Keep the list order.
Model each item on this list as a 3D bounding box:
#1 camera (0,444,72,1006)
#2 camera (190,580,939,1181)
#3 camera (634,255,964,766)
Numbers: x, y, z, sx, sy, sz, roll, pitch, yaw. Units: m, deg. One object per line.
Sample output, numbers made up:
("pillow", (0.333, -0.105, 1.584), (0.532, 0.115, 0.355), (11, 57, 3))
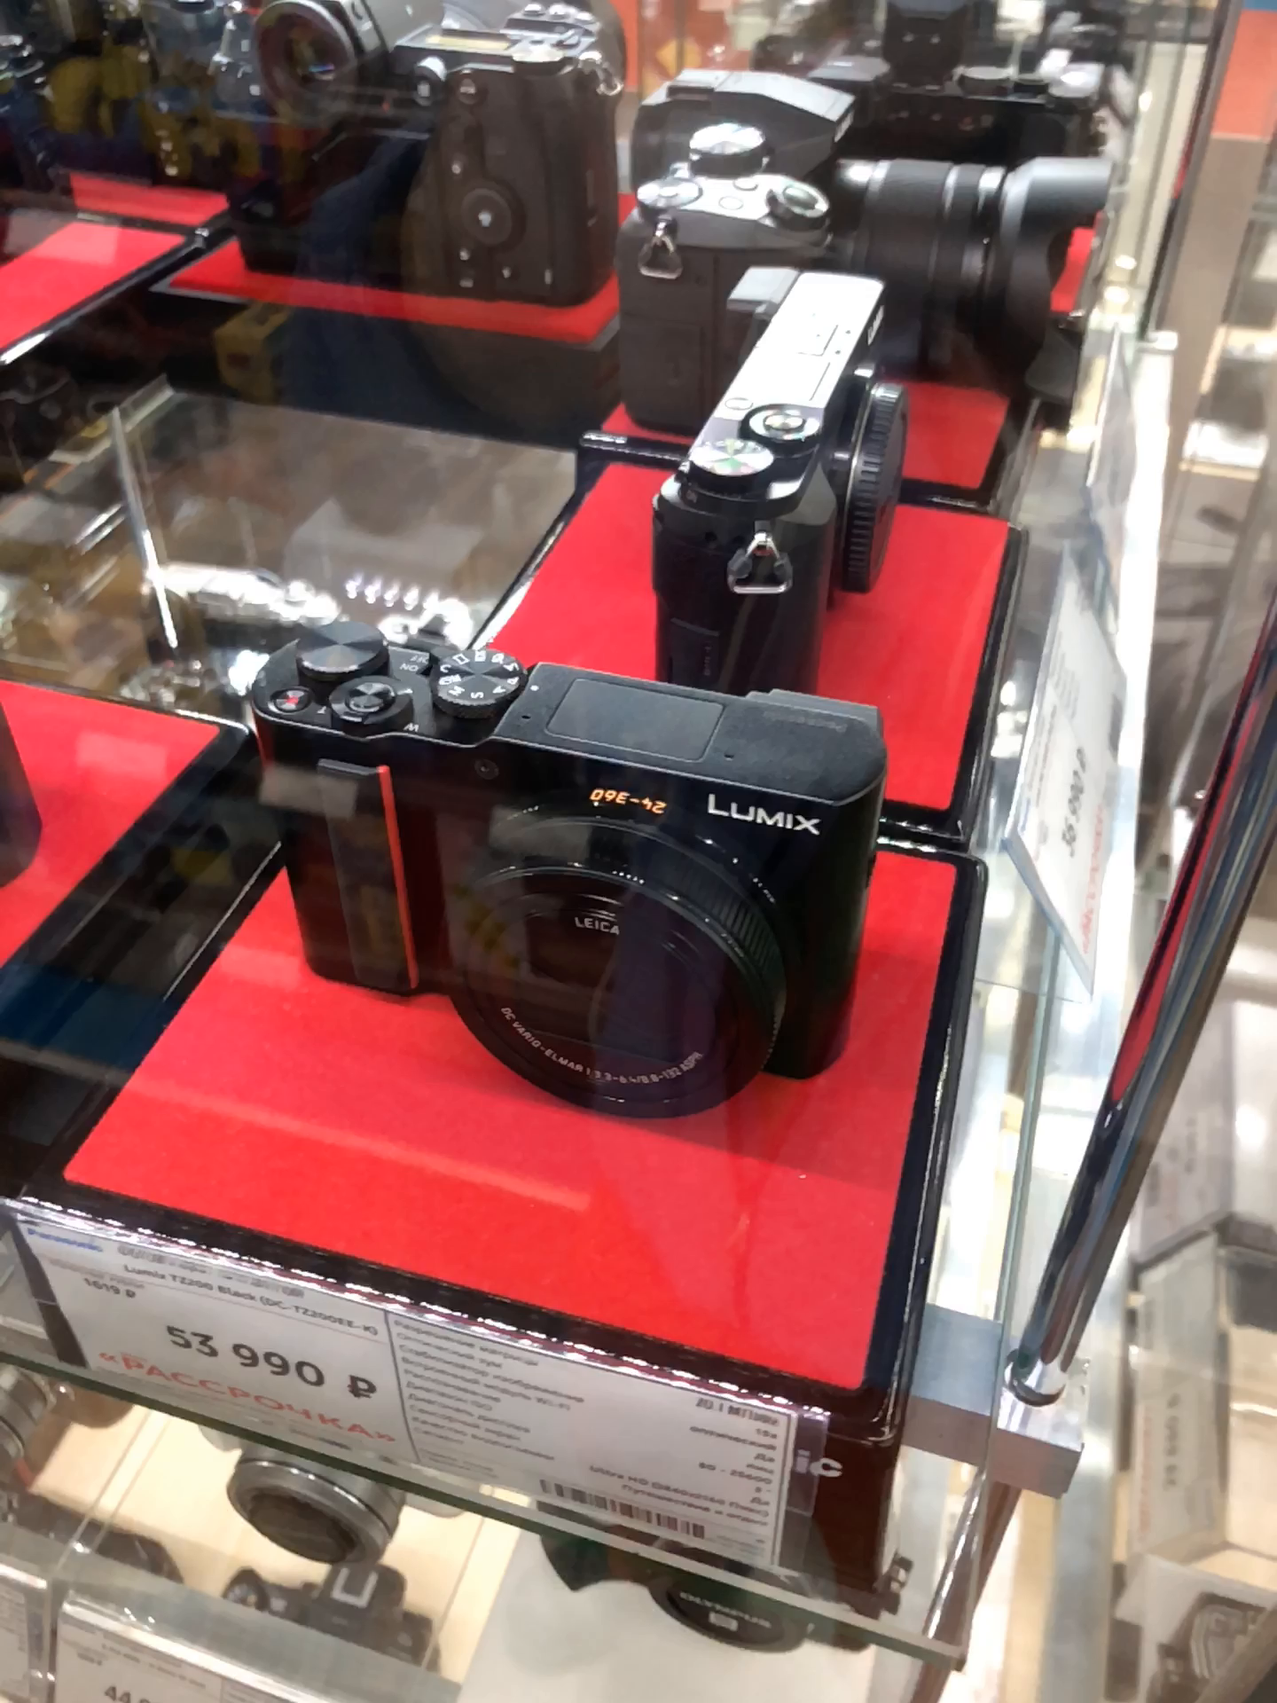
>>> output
("camera", (-0.191, -0.028, 0.291), (0.114, 0.076, 0.055), (13, 43, 15))
("camera", (-0.010, 0.003, 0.252), (0.110, 0.070, 0.052), (11, 43, 13))
("camera", (0.040, -0.085, 0.343), (0.054, 0.076, 0.102), (11, 43, 13))
